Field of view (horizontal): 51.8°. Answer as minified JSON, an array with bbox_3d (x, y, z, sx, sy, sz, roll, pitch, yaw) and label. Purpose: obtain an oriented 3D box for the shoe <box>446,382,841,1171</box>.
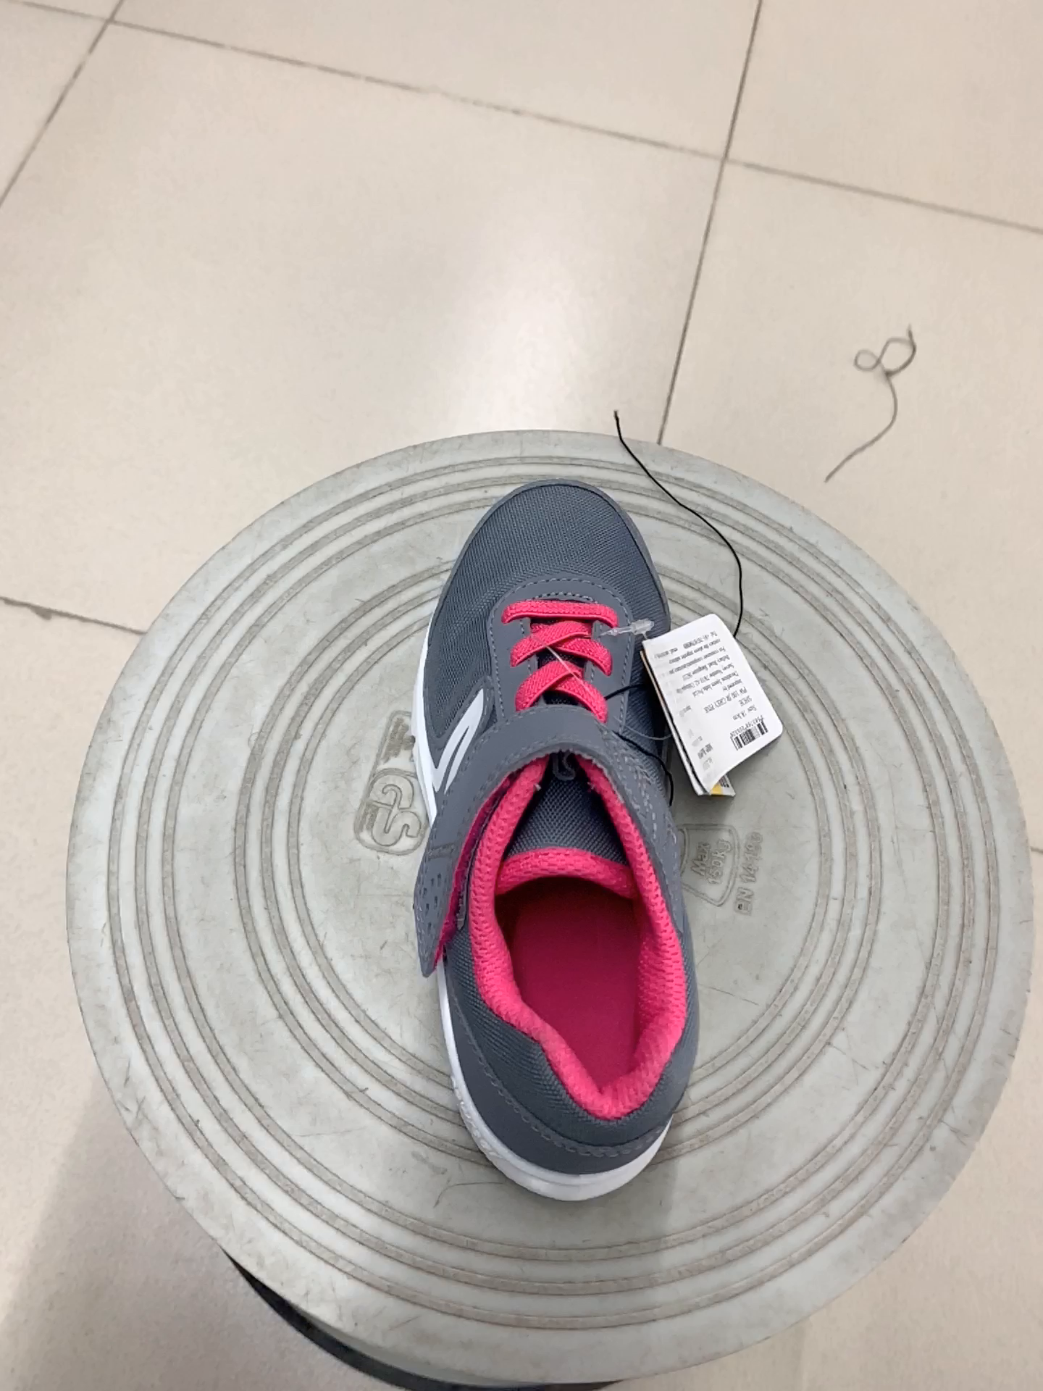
[{"bbox_3d":[0.018,0.022,0.263,0.070,0.090,0.170,1,67,-4],"label":"shoe"}]
